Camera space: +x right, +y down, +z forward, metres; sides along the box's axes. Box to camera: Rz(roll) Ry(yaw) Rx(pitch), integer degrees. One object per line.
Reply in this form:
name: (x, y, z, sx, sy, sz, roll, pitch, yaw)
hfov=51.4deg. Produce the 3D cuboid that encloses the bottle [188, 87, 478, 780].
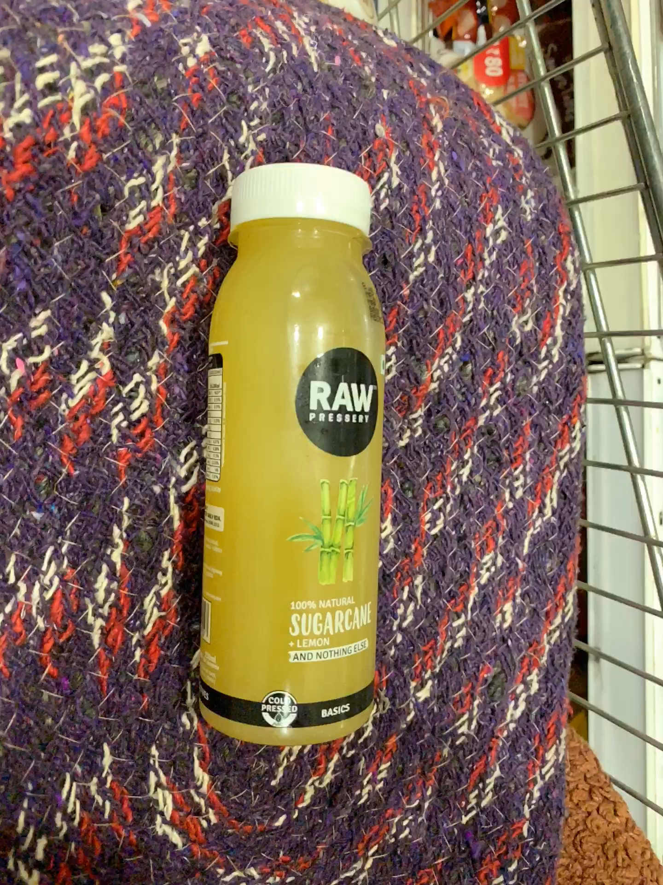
bottle: (-0.001, -0.001, 0.196, 0.060, 0.050, 0.160, 0, 93, -33)
